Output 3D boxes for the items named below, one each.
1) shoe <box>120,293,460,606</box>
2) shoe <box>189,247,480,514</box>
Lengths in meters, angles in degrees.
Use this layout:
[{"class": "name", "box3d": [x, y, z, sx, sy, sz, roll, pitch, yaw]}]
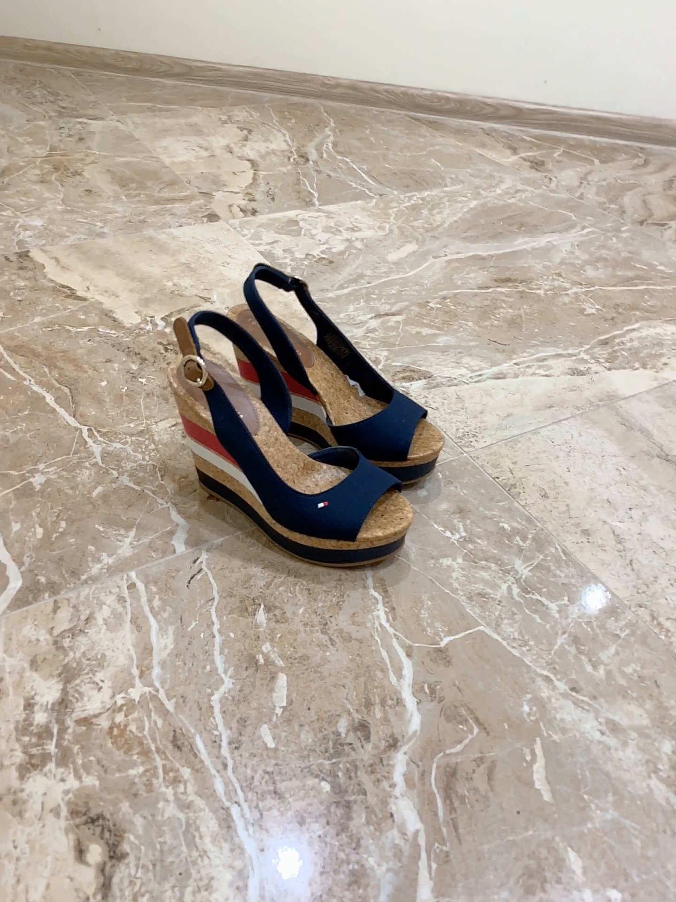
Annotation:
[{"class": "shoe", "box3d": [-0.036, -0.005, 0.508, 0.210, 0.145, 0.090, 20, 42, 18]}, {"class": "shoe", "box3d": [-0.007, -0.064, 0.585, 0.210, 0.145, 0.090, 20, 42, 18]}]
